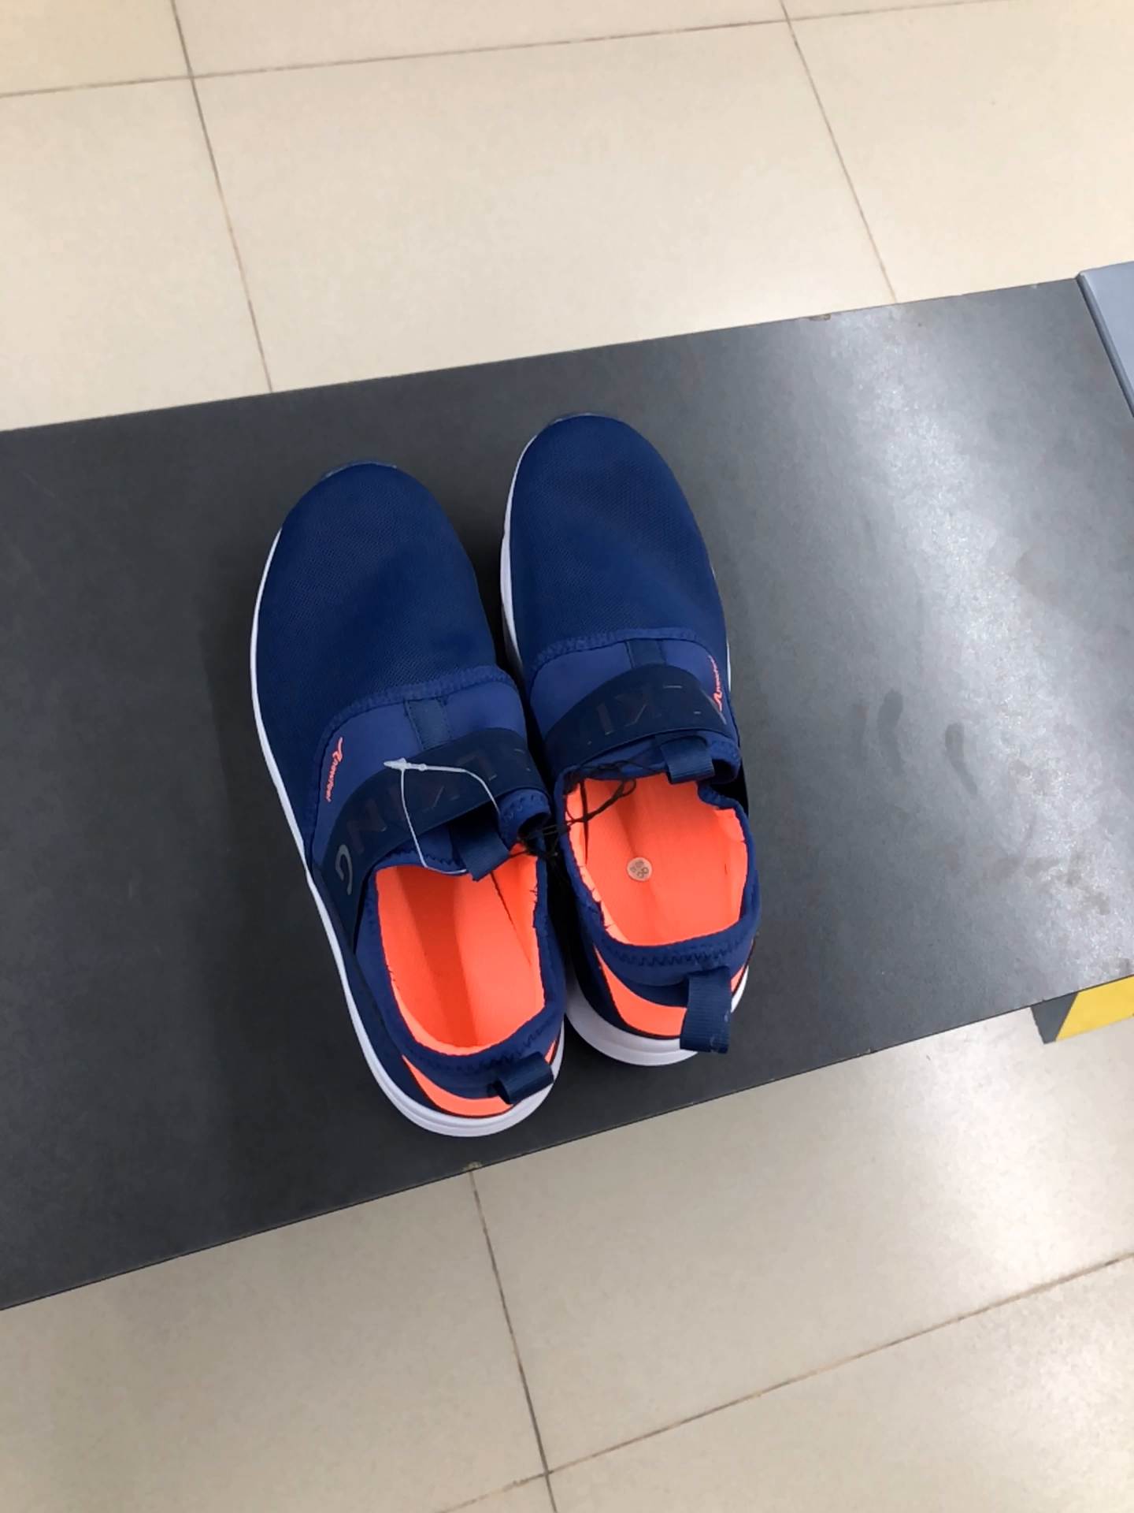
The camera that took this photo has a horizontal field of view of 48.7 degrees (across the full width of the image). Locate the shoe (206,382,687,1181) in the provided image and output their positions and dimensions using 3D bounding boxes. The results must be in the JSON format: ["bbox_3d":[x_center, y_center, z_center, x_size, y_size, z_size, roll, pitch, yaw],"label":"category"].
[{"bbox_3d":[-0.054,0.011,0.477,0.110,0.120,0.260,-11,77,-13],"label":"shoe"}]

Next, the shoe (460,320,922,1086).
[{"bbox_3d":[0.031,-0.012,0.451,0.110,0.120,0.240,-6,76,-5],"label":"shoe"}]
